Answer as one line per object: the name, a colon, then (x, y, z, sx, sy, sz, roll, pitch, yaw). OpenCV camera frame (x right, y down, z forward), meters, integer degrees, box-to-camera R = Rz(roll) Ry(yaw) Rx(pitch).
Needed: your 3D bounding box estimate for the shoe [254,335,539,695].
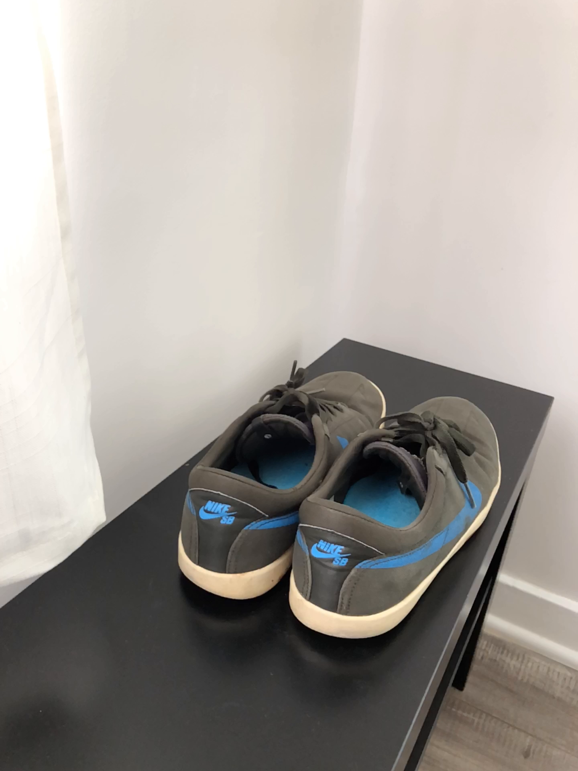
shoe: (0.096, 0.069, 0.487, 0.100, 0.110, 0.281, 19, 32, 25)

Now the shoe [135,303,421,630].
shoe: (0.009, 0.038, 0.512, 0.100, 0.110, 0.281, 16, 31, 22)
